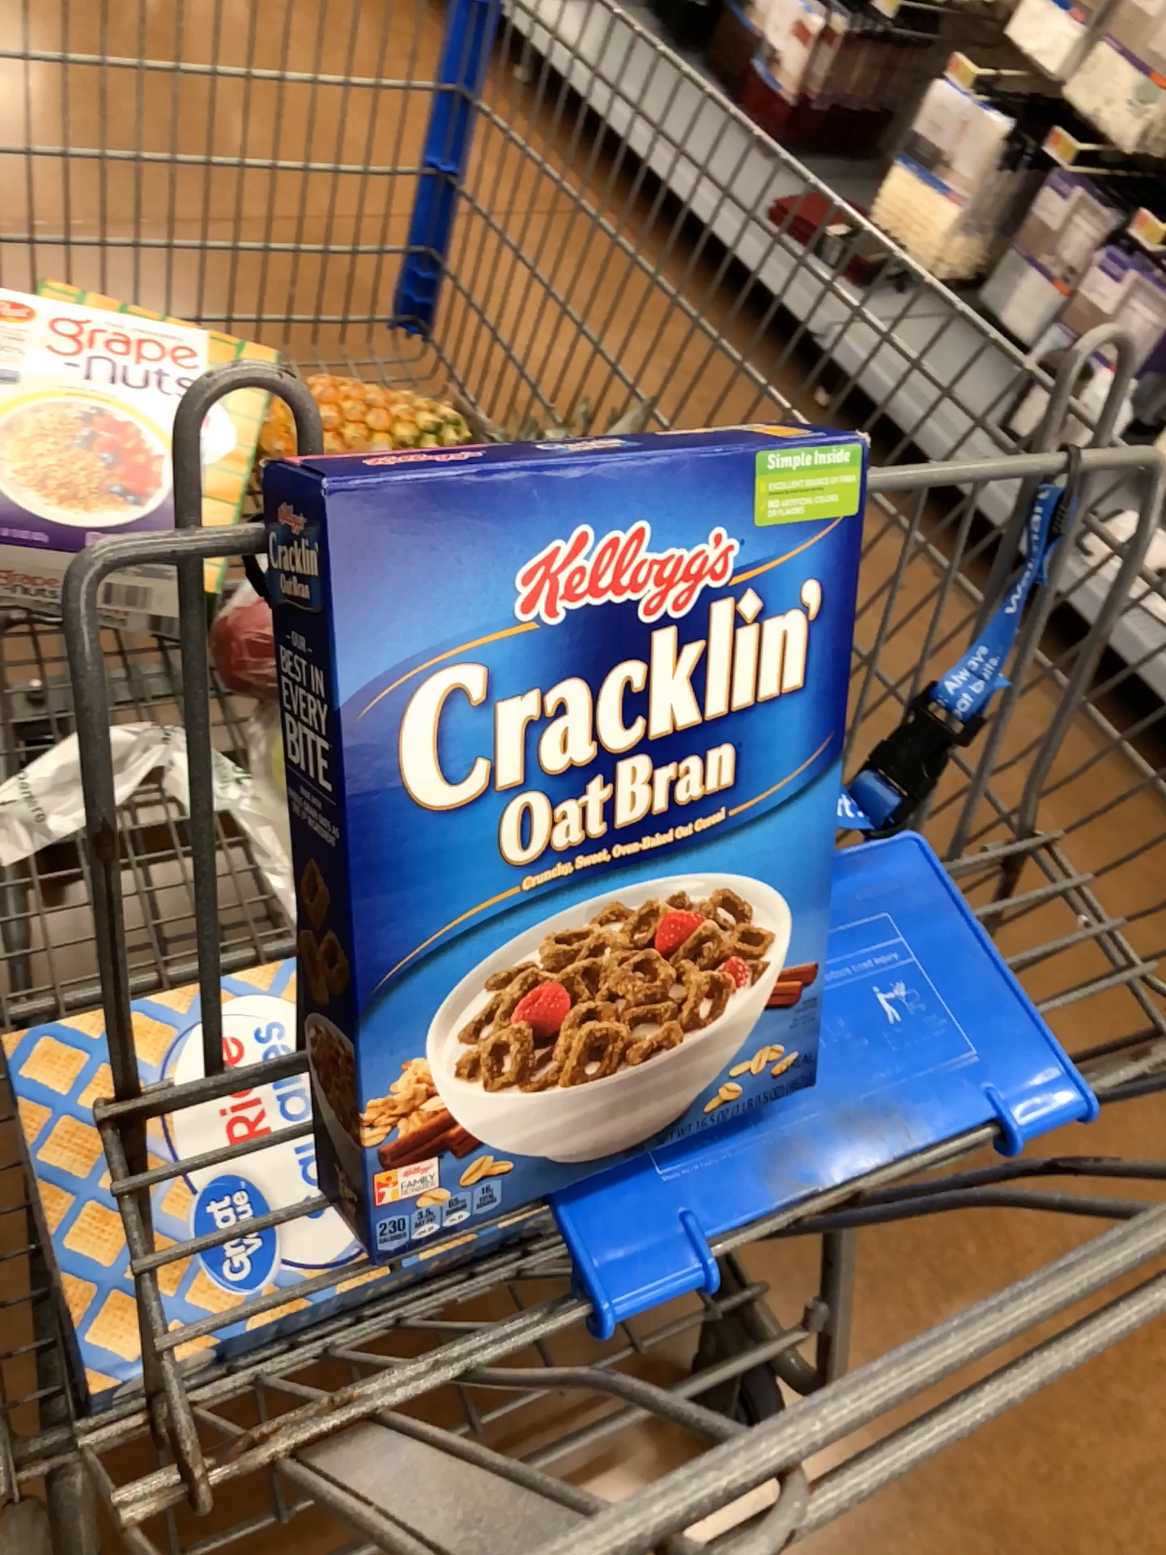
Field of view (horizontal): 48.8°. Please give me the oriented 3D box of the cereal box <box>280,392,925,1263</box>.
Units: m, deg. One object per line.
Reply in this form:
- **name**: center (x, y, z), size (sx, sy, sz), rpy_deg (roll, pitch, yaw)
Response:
- **cereal box**: center (0.013, 0.009, 0.437), size (0.200, 0.260, 0.050), rpy_deg (-12, 23, -29)
